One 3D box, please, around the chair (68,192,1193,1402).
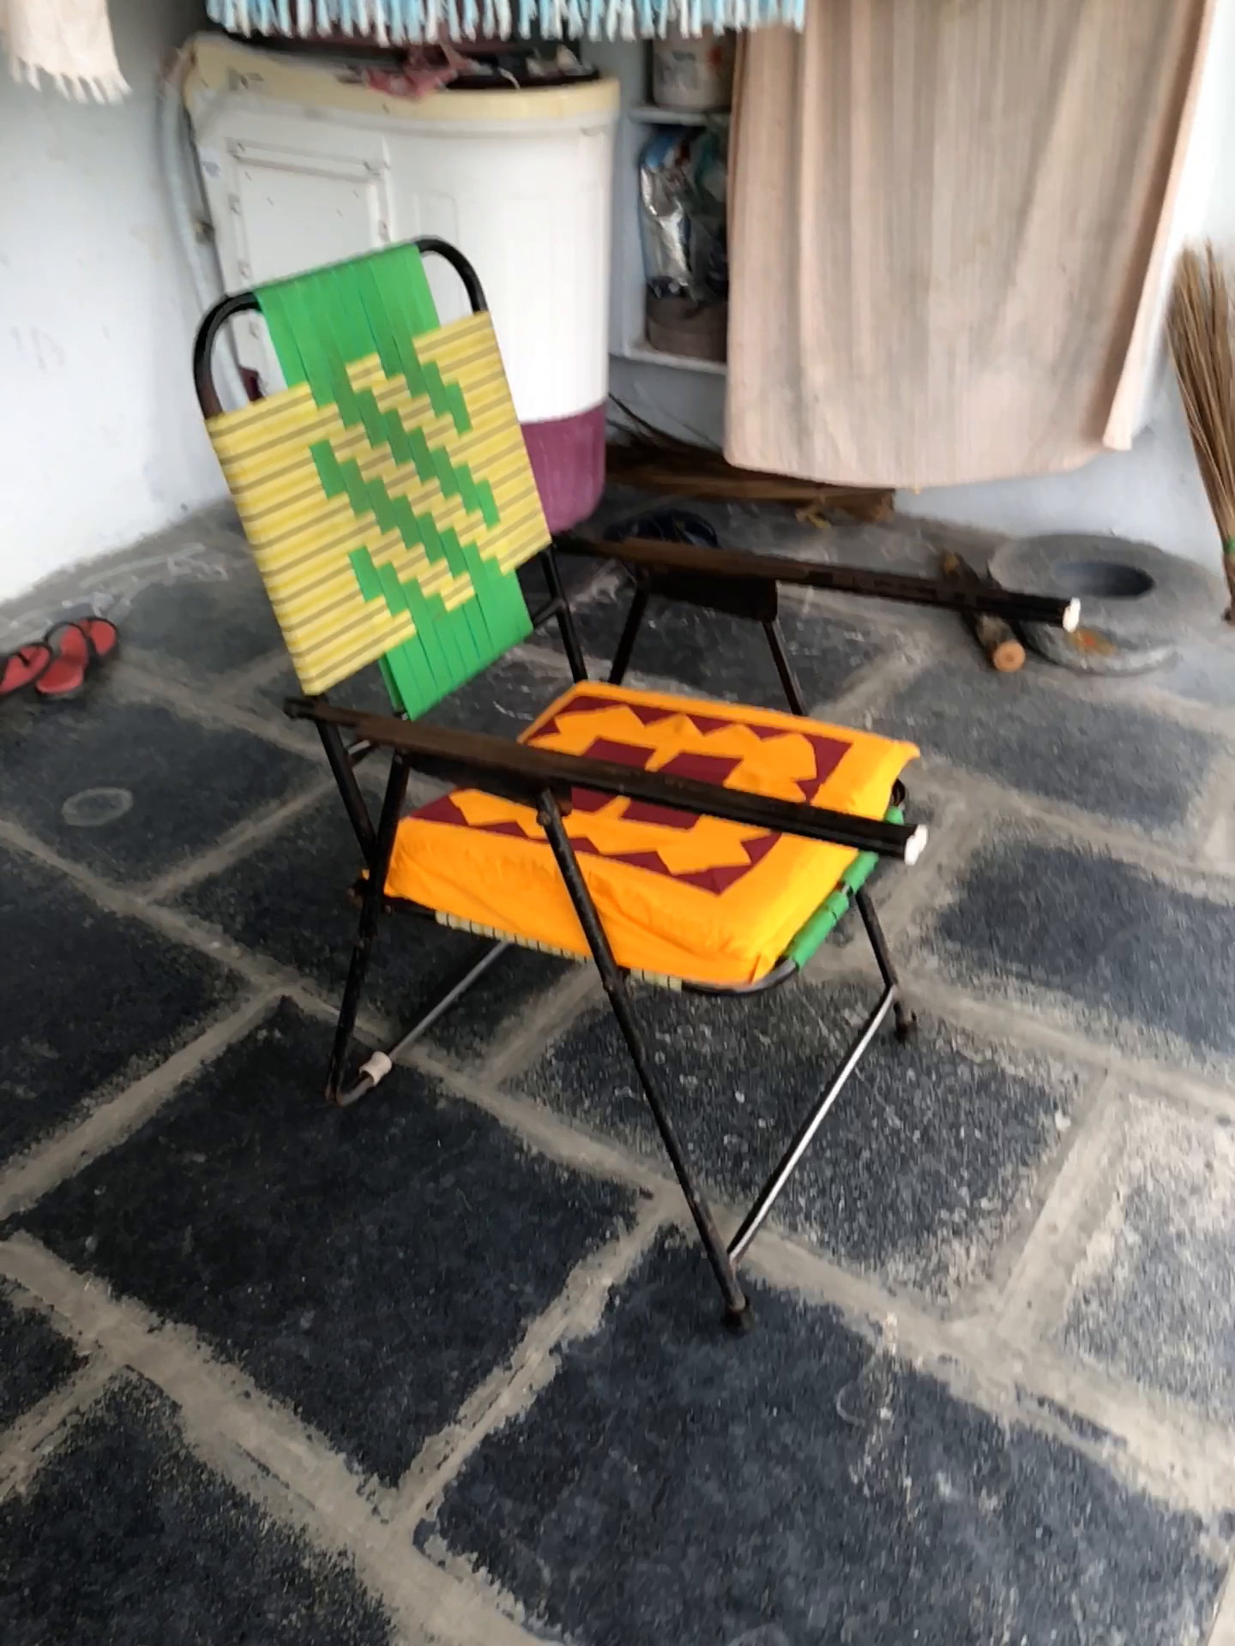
[{"bbox_3d":[0.055,-0.095,1.328,0.680,0.825,0.664,17,37,25],"label":"chair"}]
